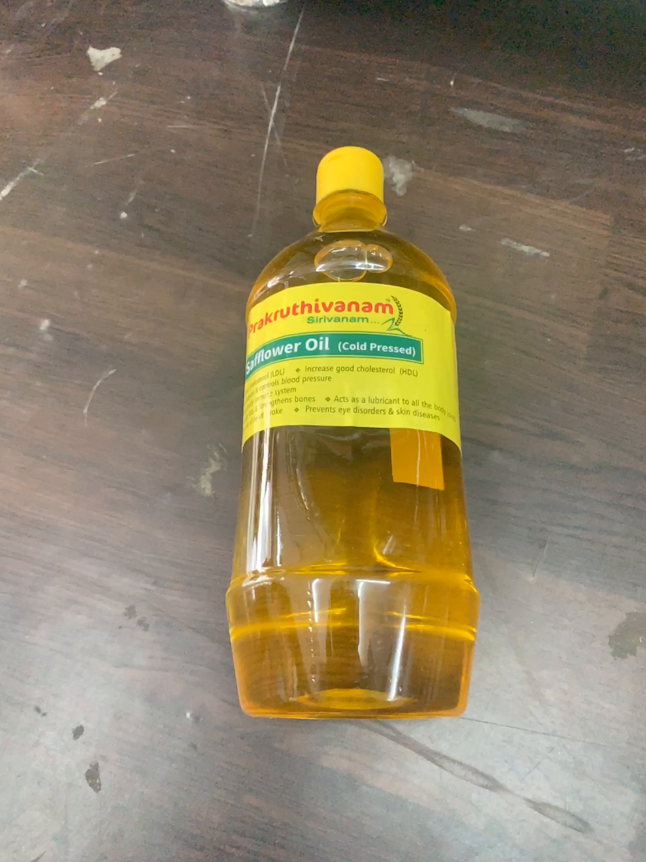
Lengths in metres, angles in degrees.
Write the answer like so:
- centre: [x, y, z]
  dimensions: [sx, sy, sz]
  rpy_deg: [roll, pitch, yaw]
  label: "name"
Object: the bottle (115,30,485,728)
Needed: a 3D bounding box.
- centre: [0.001, -0.019, 0.246]
  dimensions: [0.090, 0.080, 0.230]
  rpy_deg: [-6, 67, 18]
  label: "bottle"
